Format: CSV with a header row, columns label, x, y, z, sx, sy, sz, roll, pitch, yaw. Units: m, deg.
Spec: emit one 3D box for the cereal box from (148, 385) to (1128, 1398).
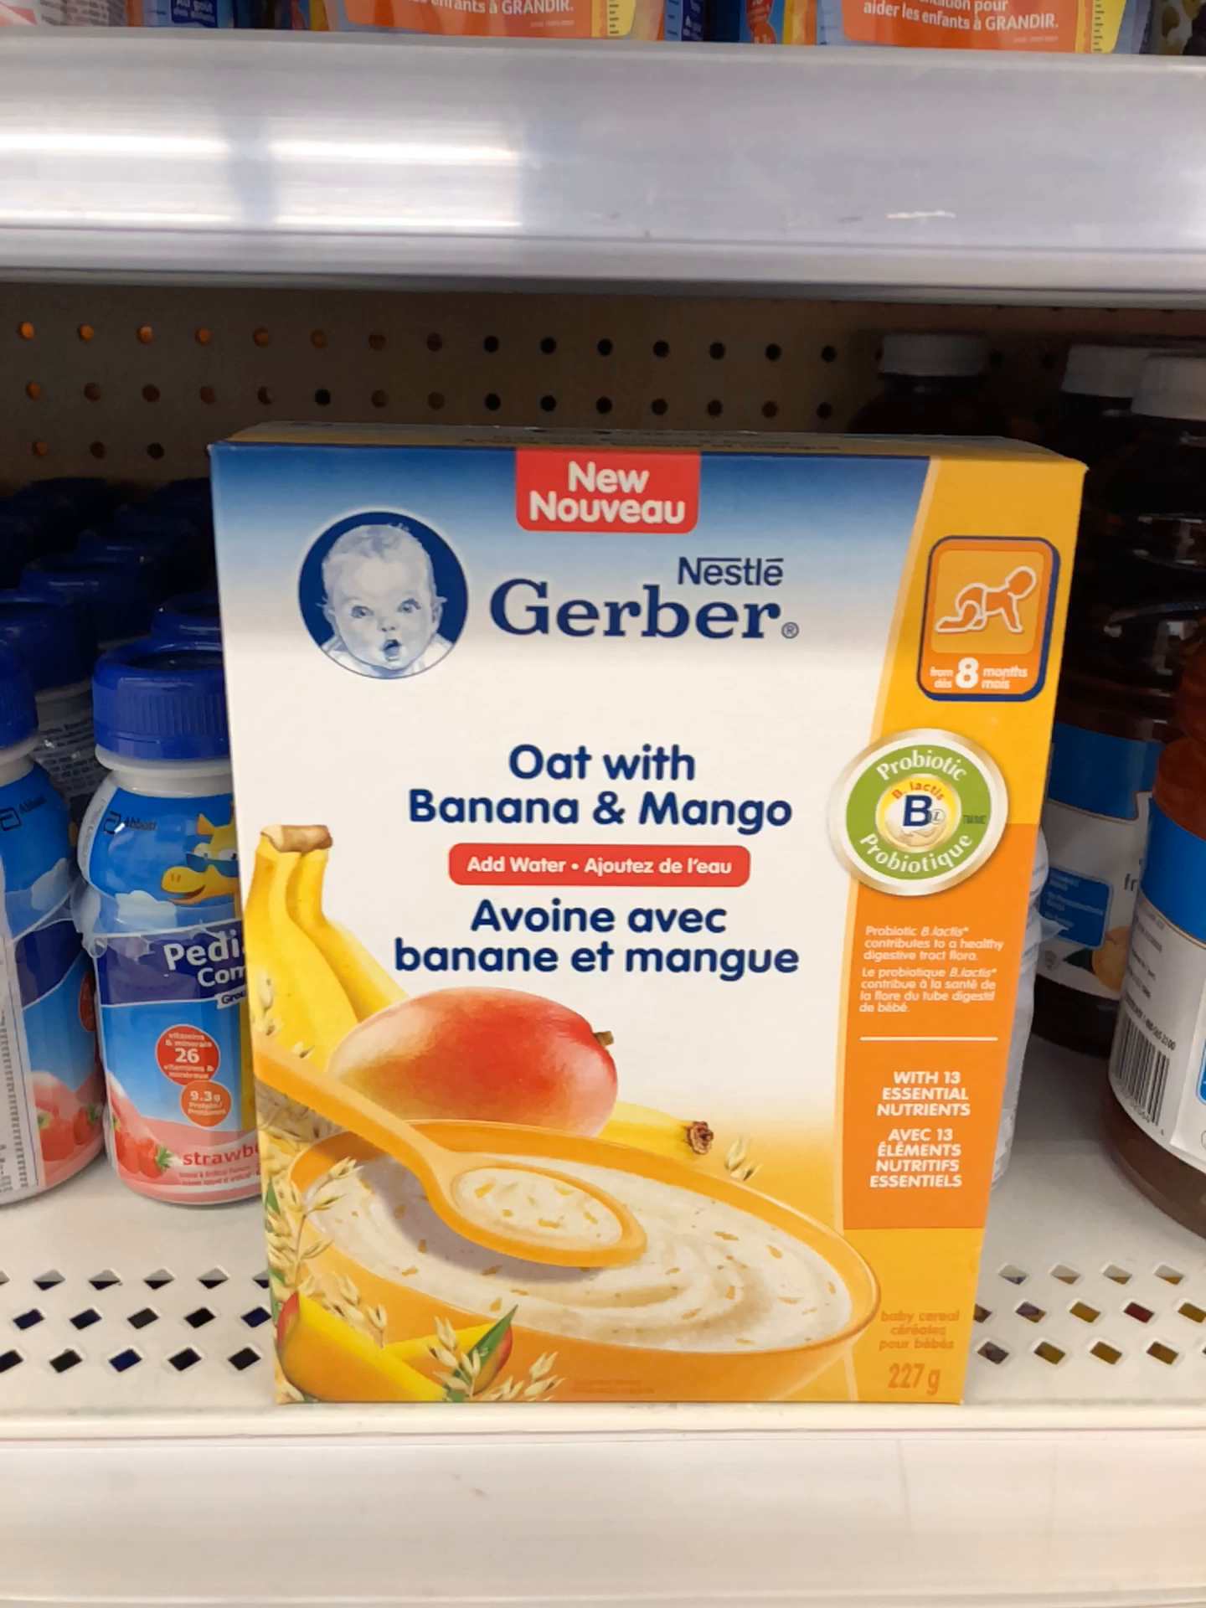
label,x,y,z,sx,sy,sz,roll,pitch,yaw
cereal box,0.002,0.023,0.255,0.150,0.189,0.040,2,20,-2
